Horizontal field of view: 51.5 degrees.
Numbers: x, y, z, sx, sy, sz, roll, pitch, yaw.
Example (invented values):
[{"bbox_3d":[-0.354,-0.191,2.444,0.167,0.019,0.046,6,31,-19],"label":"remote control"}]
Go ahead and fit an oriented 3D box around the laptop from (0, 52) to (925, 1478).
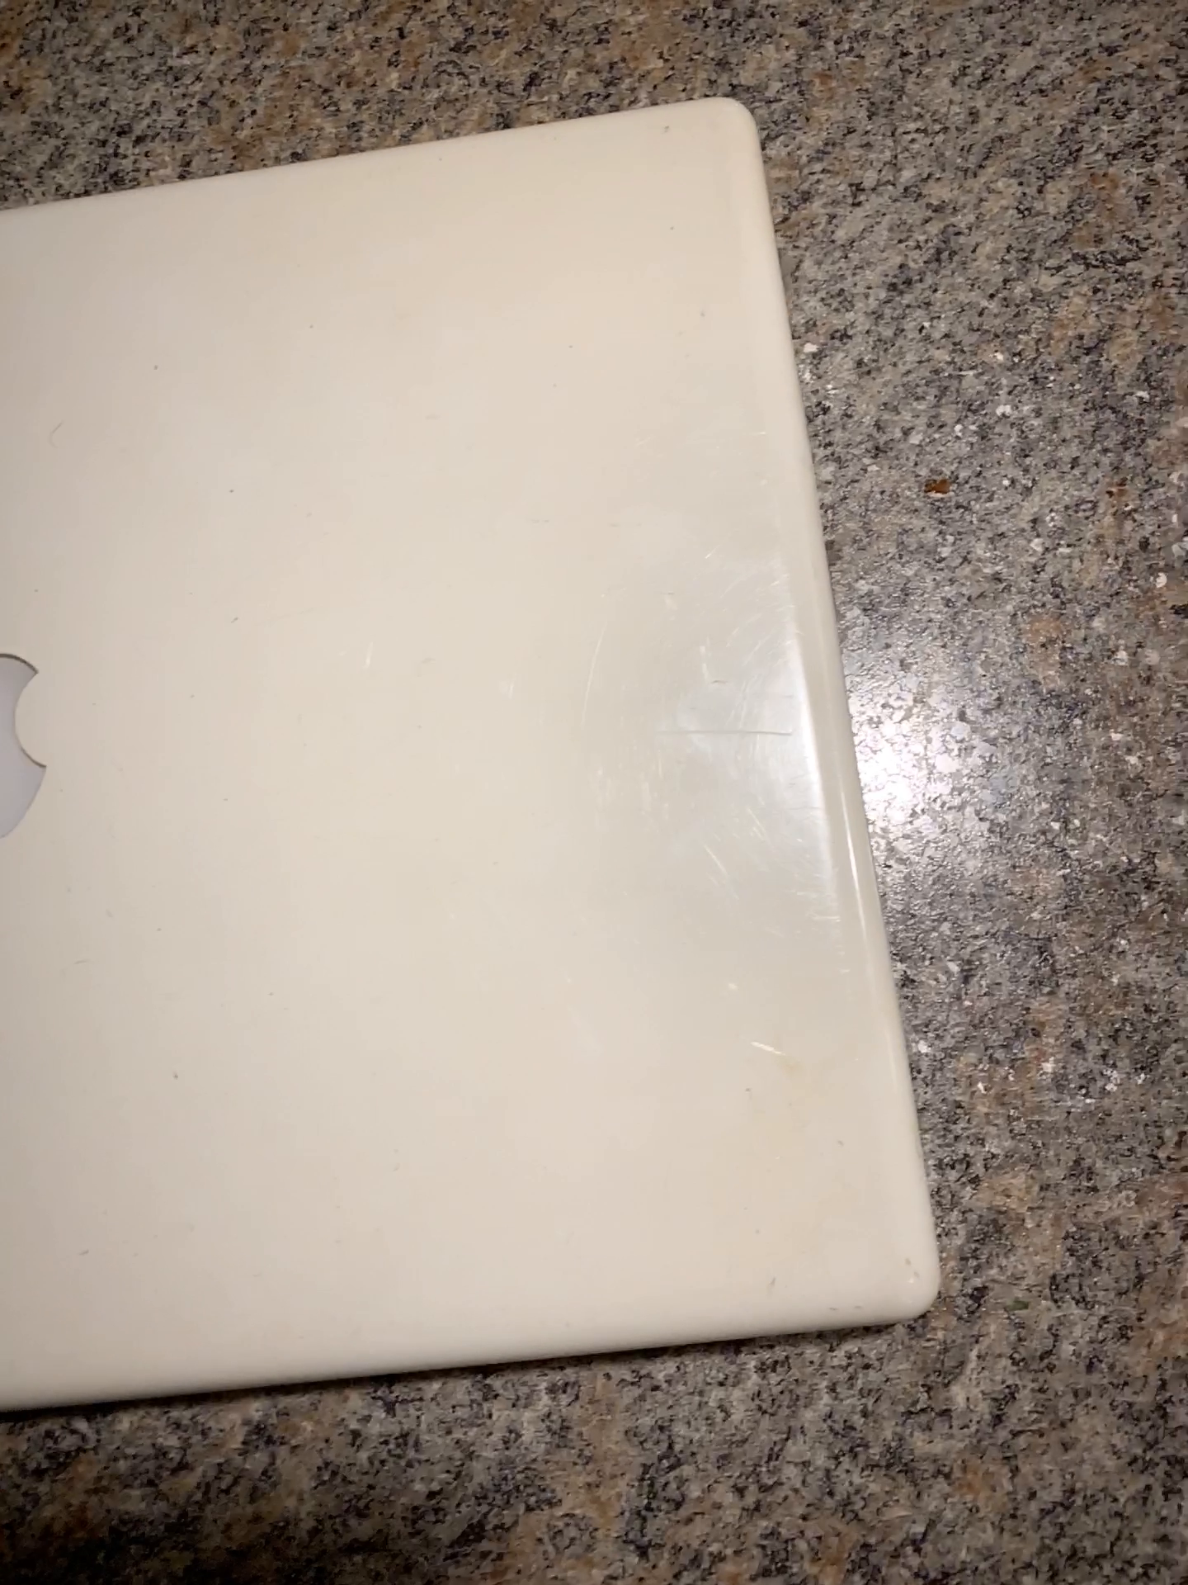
[{"bbox_3d":[-0.117,-0.006,0.207,0.305,0.002,0.205,-8,78,7],"label":"laptop"}]
